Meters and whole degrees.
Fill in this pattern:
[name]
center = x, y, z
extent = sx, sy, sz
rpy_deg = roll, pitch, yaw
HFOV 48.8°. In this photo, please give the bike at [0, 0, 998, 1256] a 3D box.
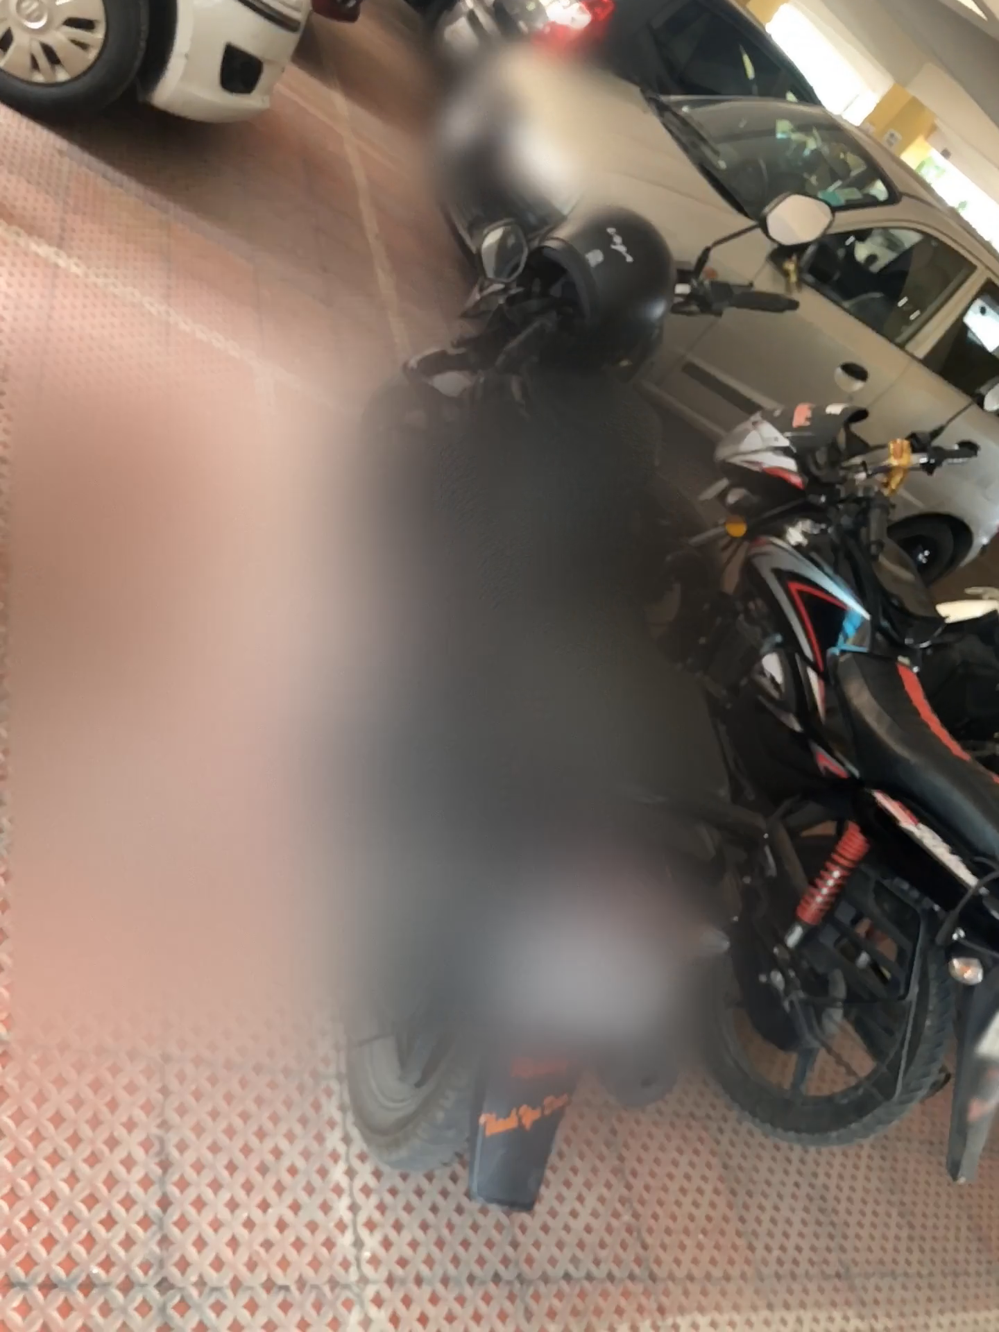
[bike]
center = -0.130, -0.241, 1.819
extent = 0.805, 1.200, 1.689
rpy_deg = 26, 36, -30
